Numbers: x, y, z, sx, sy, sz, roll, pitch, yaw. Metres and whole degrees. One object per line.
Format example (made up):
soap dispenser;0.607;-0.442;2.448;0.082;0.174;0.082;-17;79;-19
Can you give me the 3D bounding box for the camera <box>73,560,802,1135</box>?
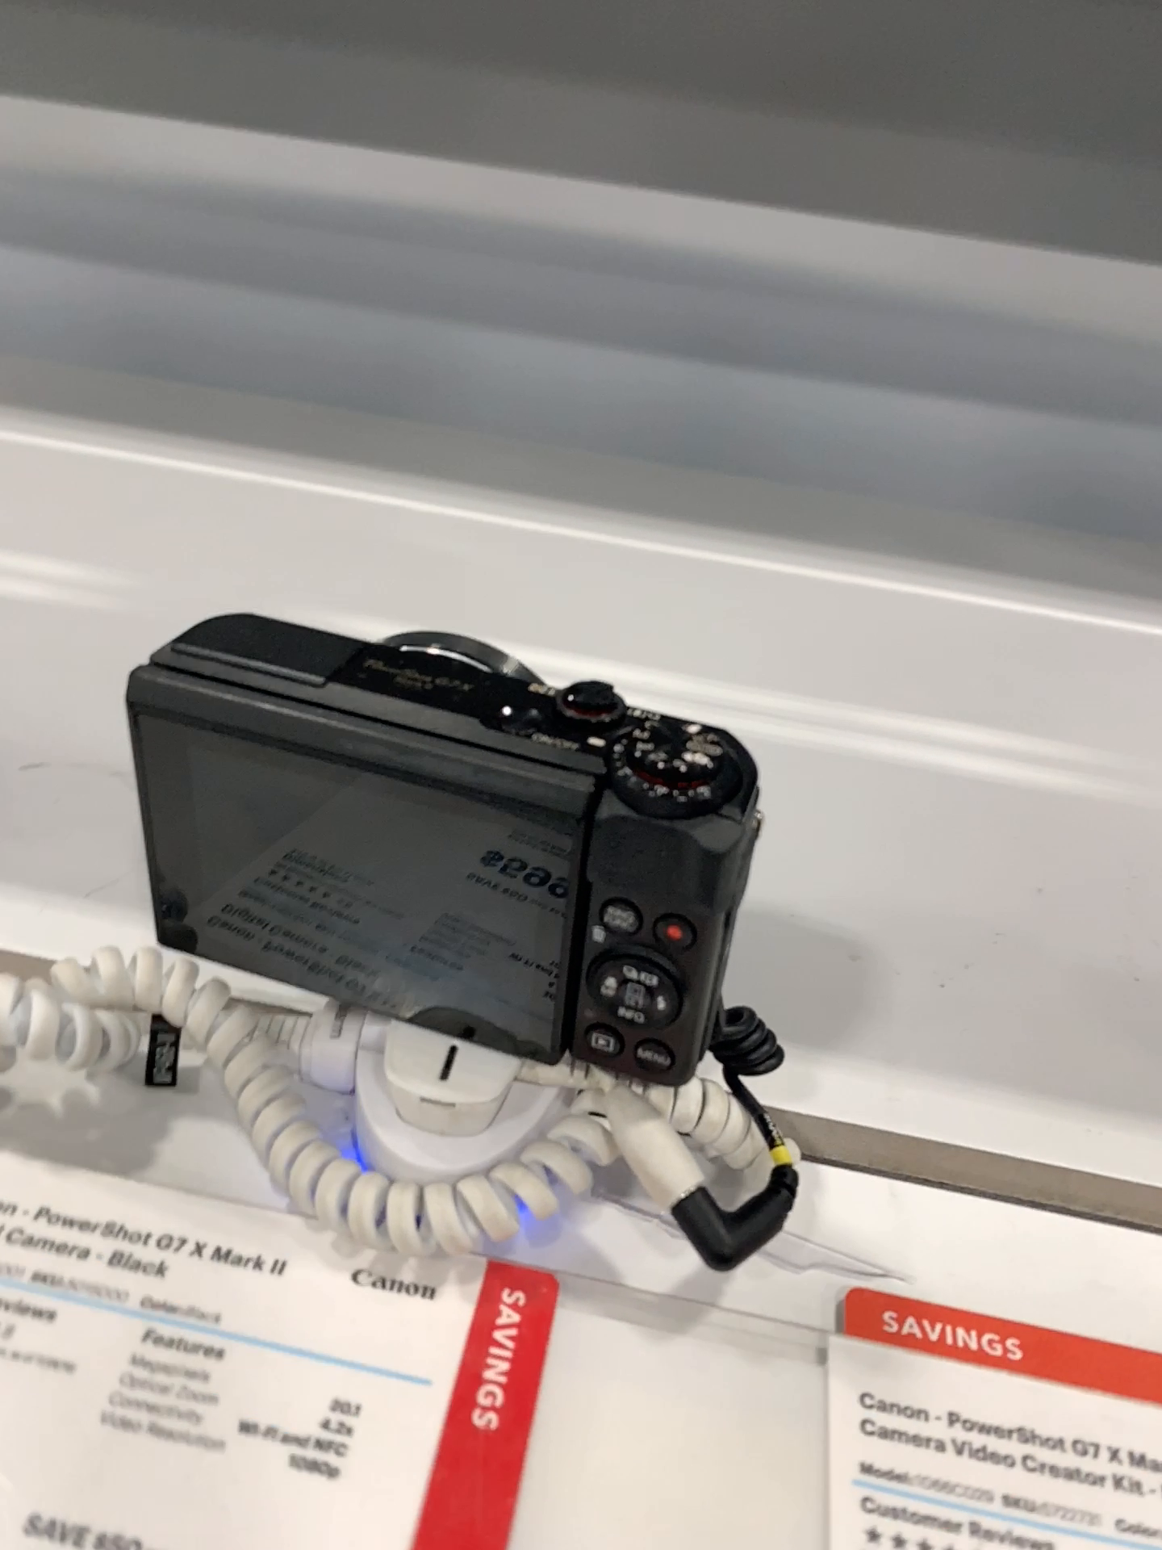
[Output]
camera;-0.025;0.010;0.212;0.110;0.060;0.044;15;34;10
